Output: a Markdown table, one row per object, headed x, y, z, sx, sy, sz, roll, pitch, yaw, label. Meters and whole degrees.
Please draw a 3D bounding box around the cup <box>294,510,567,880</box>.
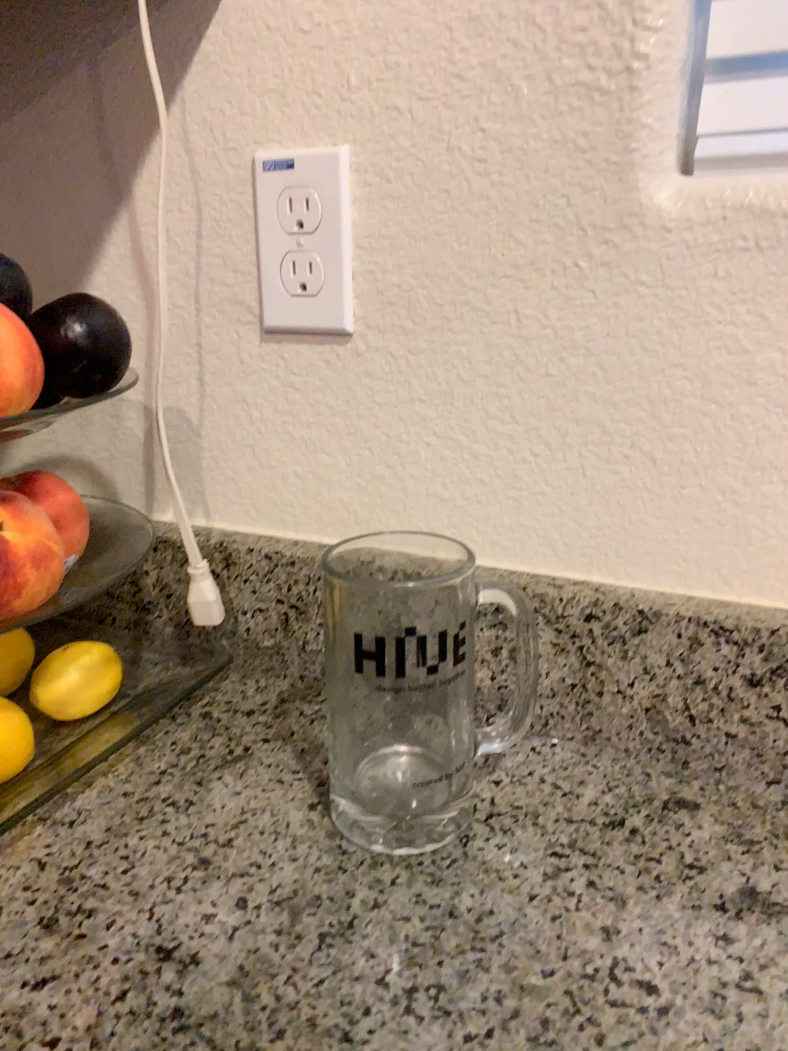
| x | y | z | sx | sy | sz | roll | pitch | yaw | label |
| --- | --- | --- | --- | --- | --- | --- | --- | --- | --- |
| 0.016 | 0.085 | 0.437 | 0.120 | 0.159 | 0.080 | -6 | 18 | -16 | cup |
